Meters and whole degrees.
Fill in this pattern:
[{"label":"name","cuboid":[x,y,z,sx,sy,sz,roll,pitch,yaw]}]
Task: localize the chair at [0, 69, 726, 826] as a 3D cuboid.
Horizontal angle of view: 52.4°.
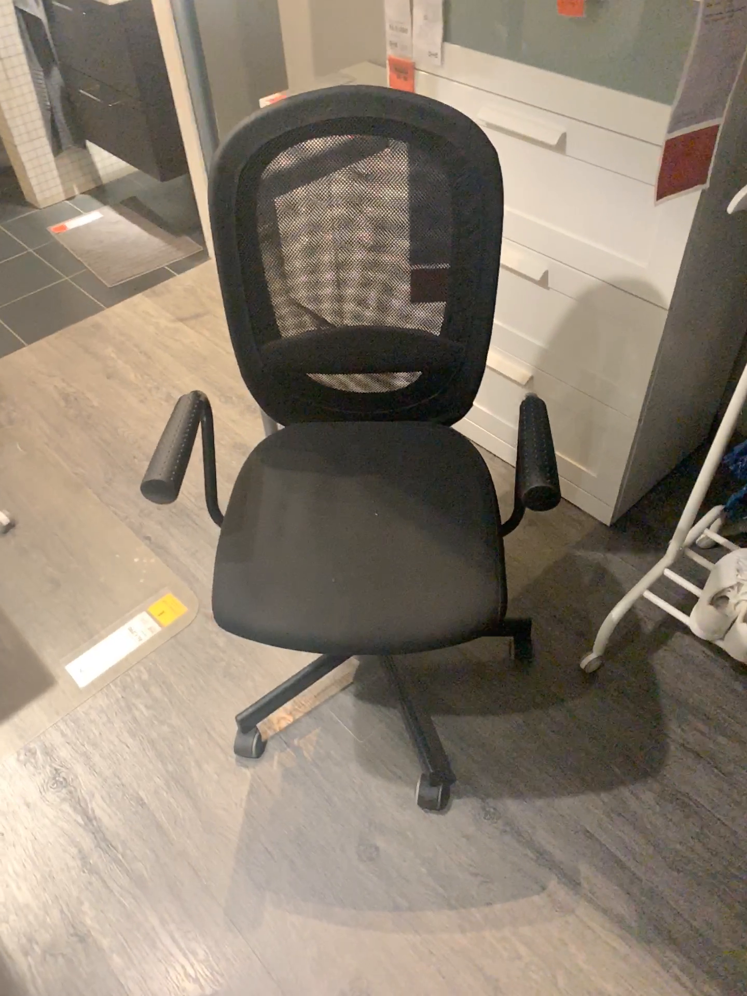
[{"label":"chair","cuboid":[0.007,-0.022,1.213,0.640,0.976,0.683,1,47,5]}]
